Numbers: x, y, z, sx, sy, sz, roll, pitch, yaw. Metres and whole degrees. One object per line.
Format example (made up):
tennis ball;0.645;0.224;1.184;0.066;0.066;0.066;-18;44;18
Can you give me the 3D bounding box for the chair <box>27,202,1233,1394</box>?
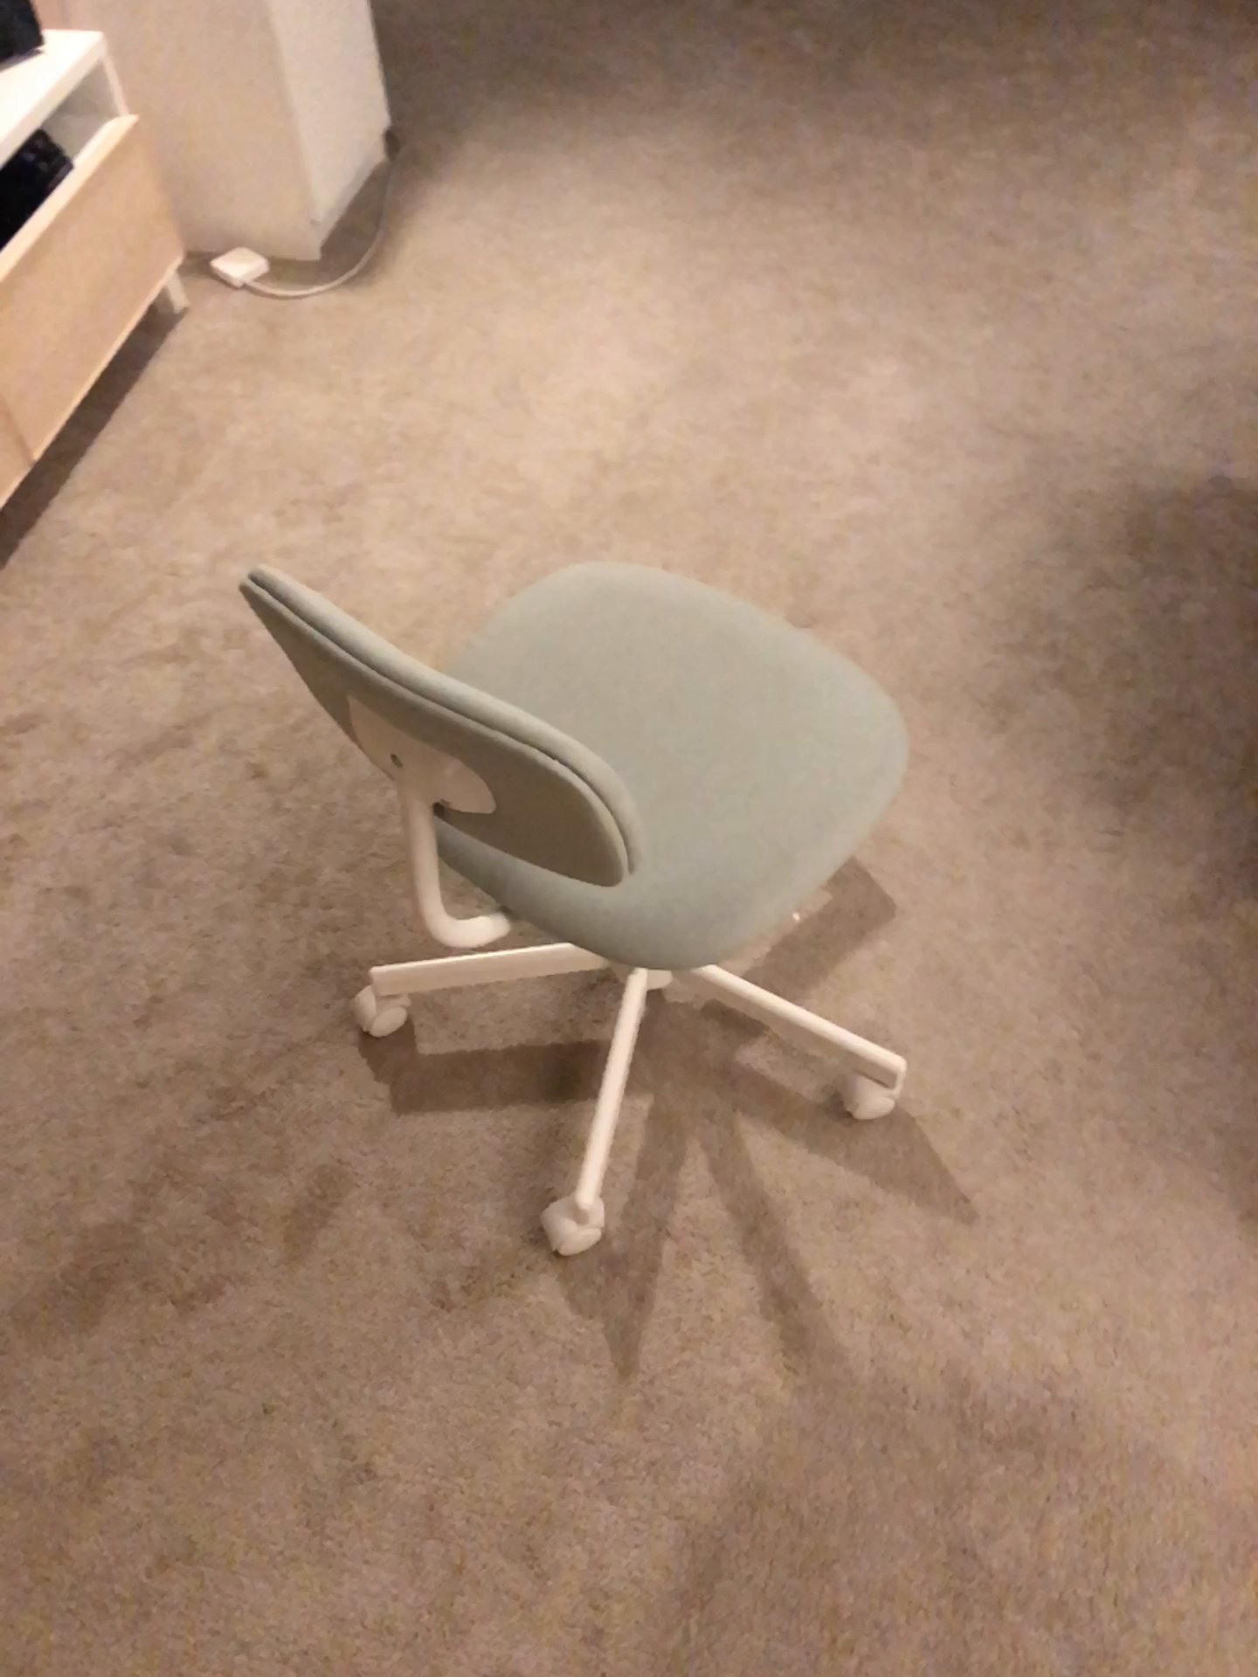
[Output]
chair;0.013;-0.046;1.312;0.661;0.677;0.642;35;62;26
